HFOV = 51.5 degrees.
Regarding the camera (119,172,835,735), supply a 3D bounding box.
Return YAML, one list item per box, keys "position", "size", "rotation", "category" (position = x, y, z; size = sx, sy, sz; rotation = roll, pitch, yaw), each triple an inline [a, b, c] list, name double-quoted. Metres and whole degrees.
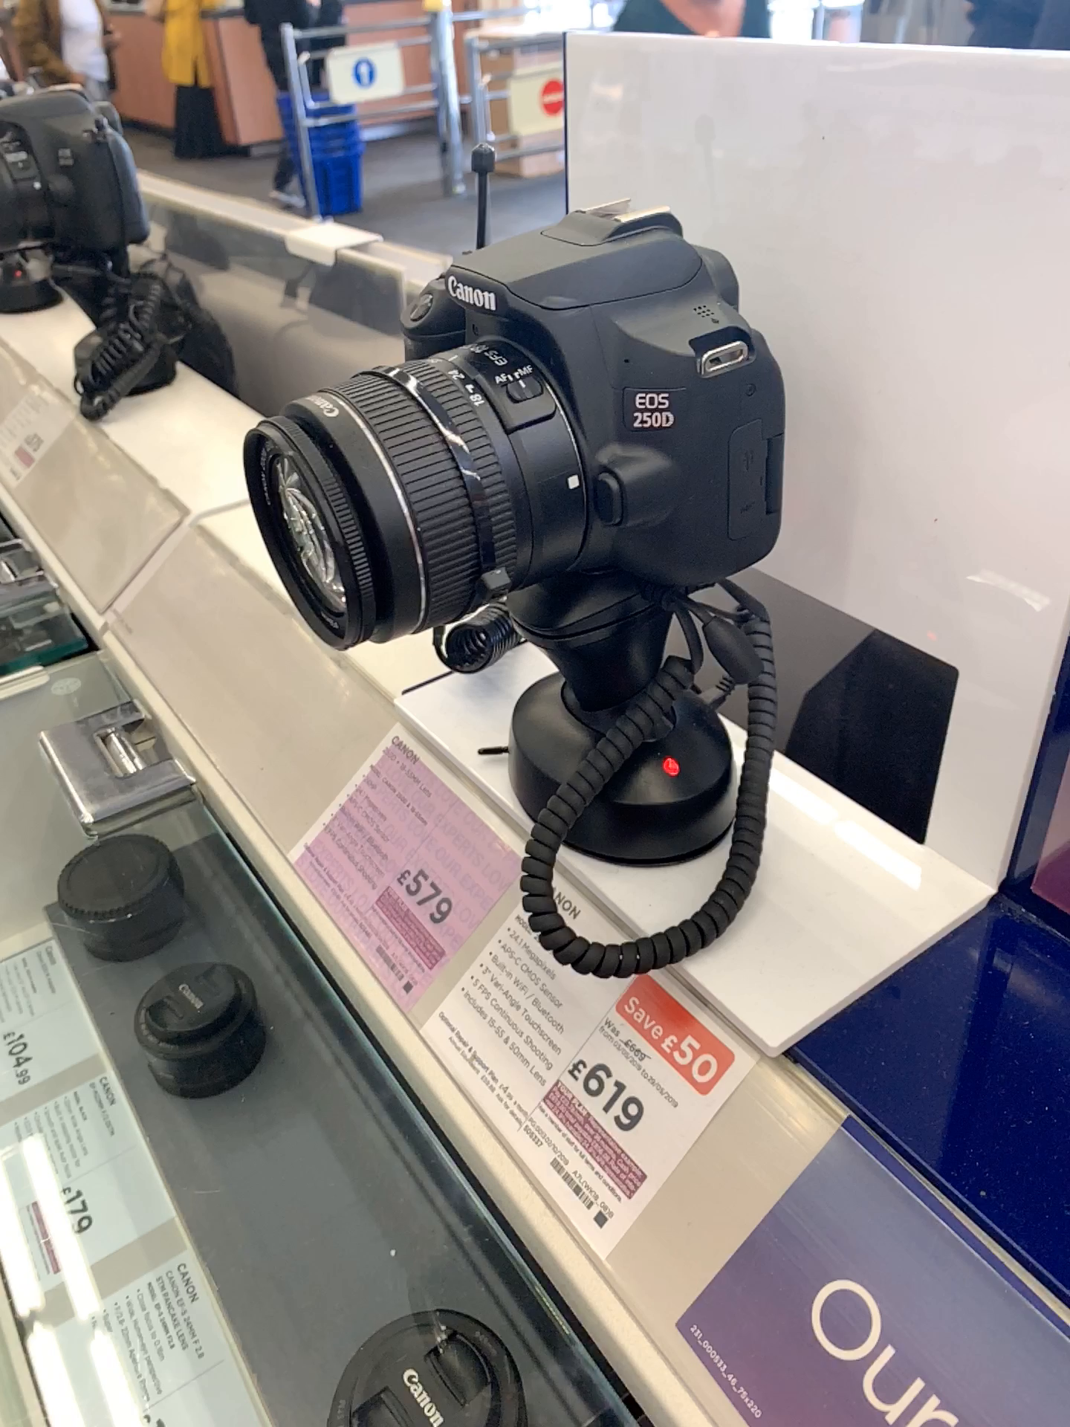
- position: [-0.015, -0.085, 0.308]
  size: [0.140, 0.089, 0.121]
  rotation: [-25, 40, -27]
  category: "camera"
